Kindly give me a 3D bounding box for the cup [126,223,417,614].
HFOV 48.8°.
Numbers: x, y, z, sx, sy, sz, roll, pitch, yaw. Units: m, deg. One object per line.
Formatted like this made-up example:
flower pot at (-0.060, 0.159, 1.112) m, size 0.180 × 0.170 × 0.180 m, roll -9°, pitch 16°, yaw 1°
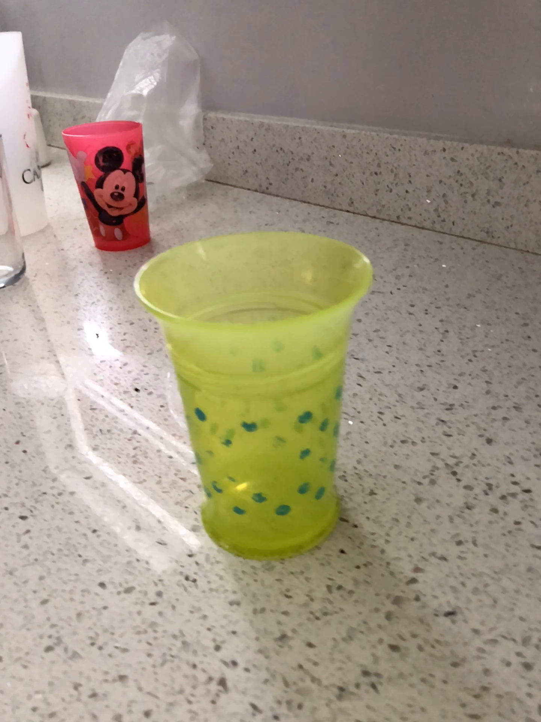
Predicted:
cup at (-0.001, 0.017, 0.229) m, size 0.073 × 0.109 × 0.078 m, roll -3°, pitch 31°, yaw 2°
